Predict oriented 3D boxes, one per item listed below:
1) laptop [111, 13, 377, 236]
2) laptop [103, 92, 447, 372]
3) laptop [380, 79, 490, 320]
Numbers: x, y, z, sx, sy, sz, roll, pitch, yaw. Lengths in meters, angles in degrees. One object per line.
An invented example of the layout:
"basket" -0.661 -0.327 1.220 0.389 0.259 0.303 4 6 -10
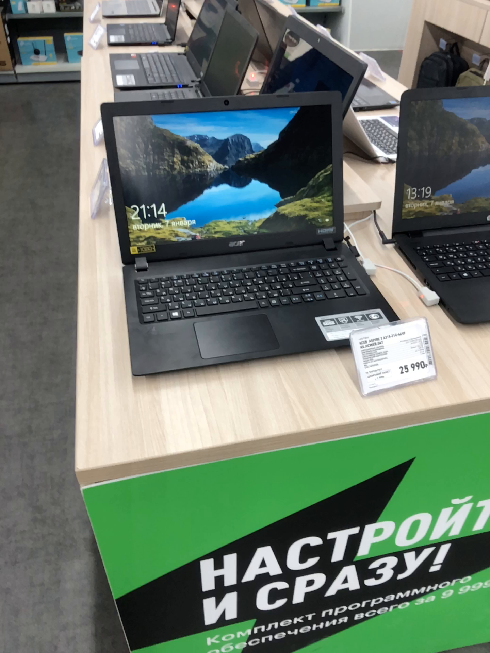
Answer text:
"laptop" -0.034 -0.417 1.054 0.395 0.250 0.403 -9 41 -9
"laptop" 0.007 -0.161 0.778 0.374 0.219 0.349 -8 40 -10
"laptop" 0.468 -0.213 0.845 0.359 0.220 0.296 -8 42 -9
